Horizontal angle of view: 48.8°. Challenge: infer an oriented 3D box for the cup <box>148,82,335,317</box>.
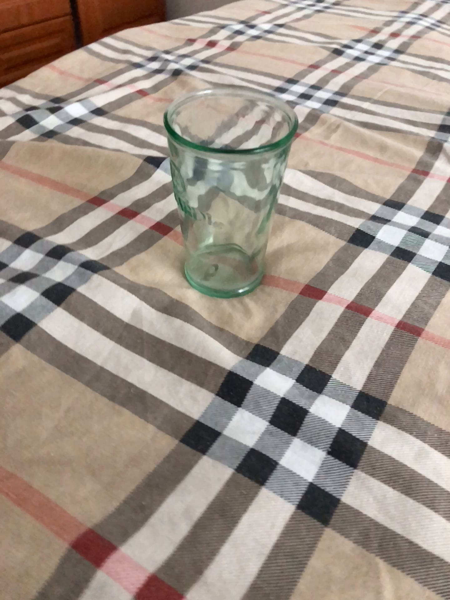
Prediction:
[{"bbox_3d":[0.004,-0.066,0.323,0.082,0.112,0.086,2,43,-2],"label":"cup"}]
